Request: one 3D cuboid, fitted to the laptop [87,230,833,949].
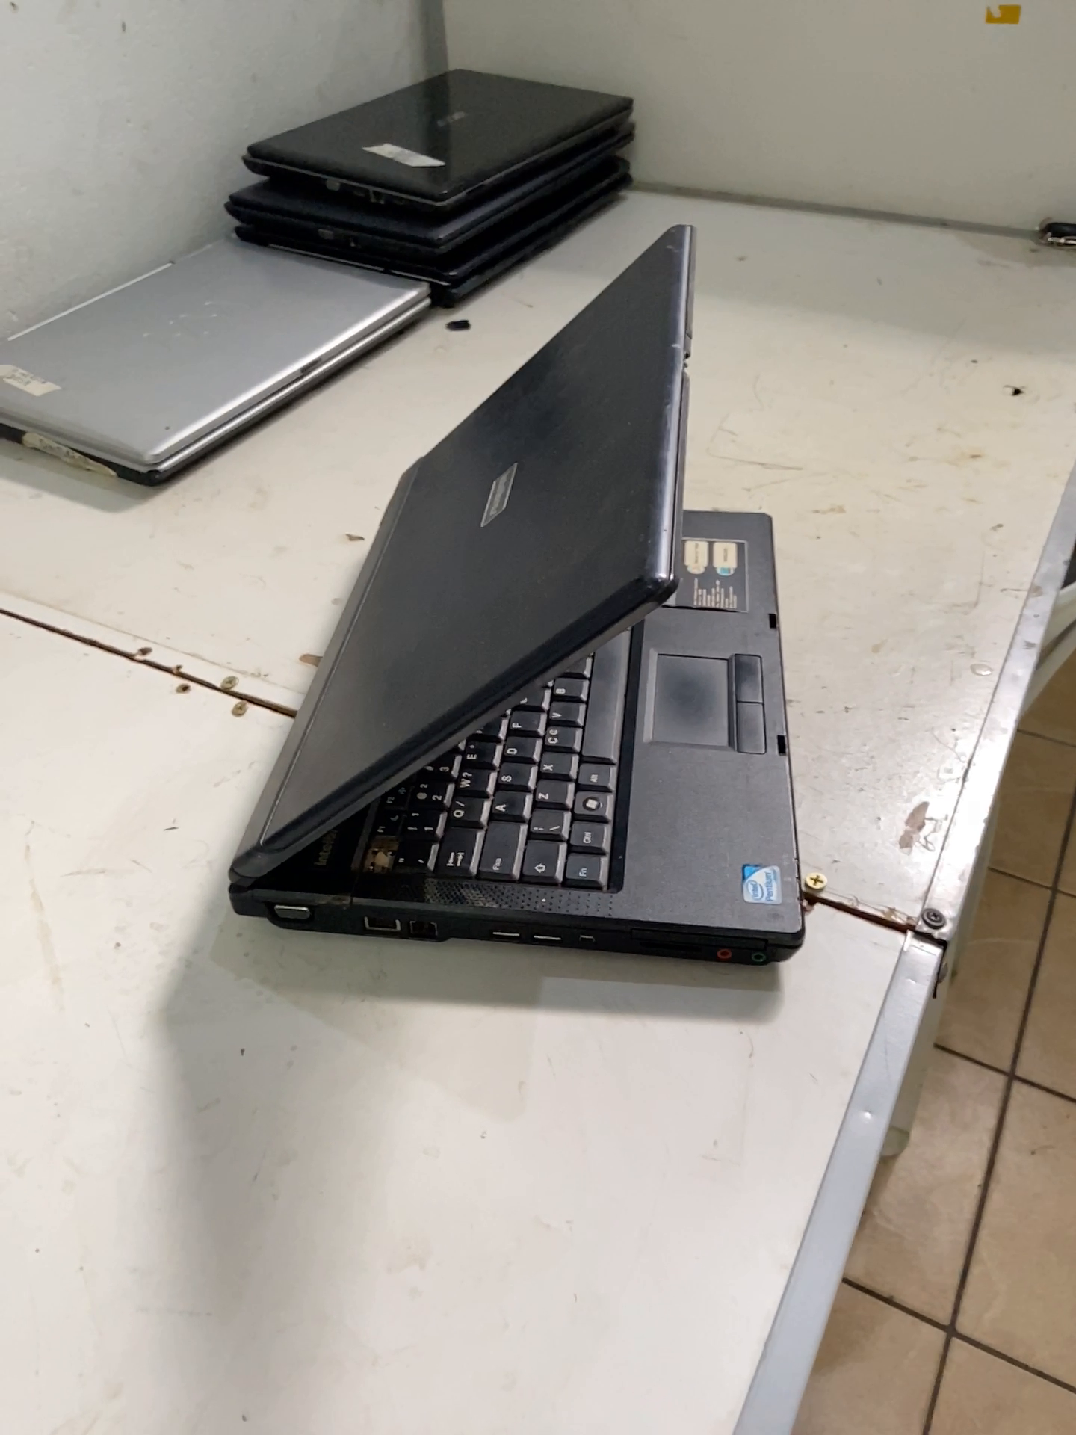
[{"bbox_3d":[-0.009,-0.086,0.521,0.235,0.168,0.326,4,41,5],"label":"laptop"}]
